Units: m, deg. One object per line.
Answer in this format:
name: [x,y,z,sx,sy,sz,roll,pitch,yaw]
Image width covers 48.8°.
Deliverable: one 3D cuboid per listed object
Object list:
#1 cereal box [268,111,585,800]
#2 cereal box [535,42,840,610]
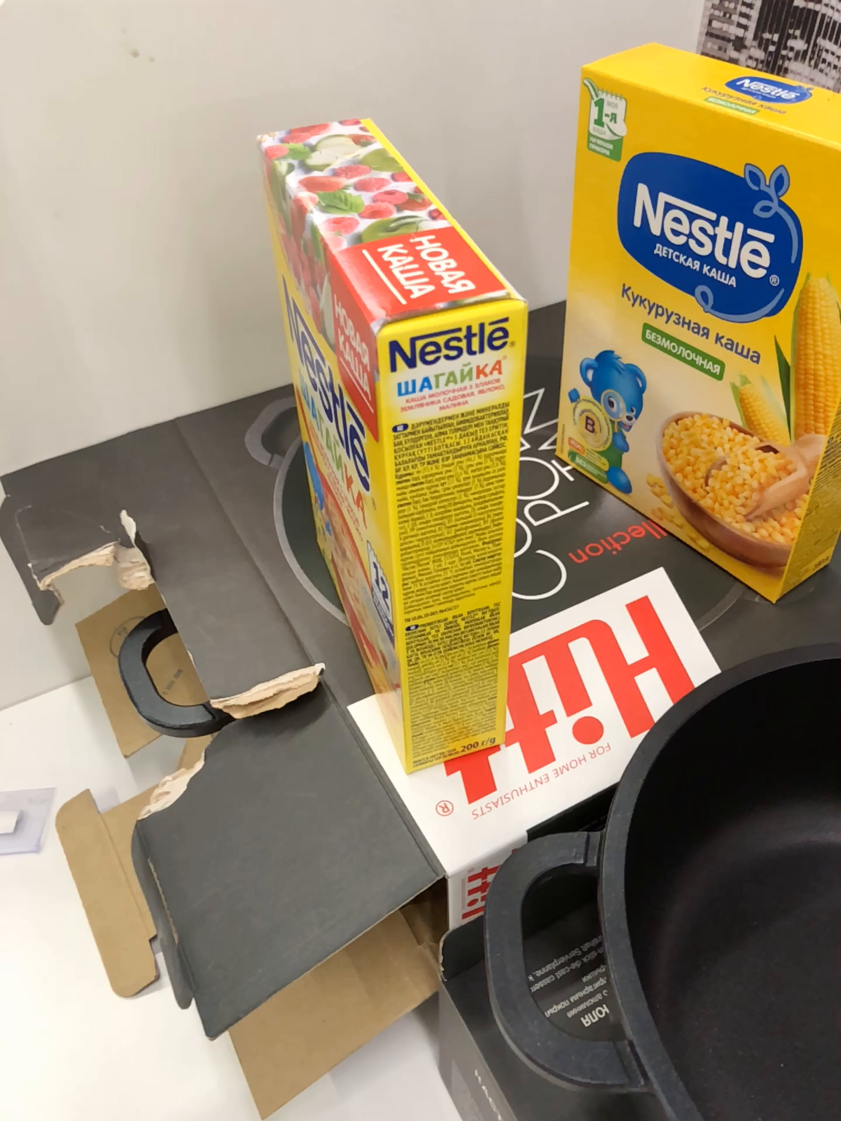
cereal box: [-0.005,-0.038,0.352,0.050,0.199,0.161,-13,43,-12]
cereal box: [0.130,-0.103,0.418,0.050,0.199,0.161,-28,48,-25]
